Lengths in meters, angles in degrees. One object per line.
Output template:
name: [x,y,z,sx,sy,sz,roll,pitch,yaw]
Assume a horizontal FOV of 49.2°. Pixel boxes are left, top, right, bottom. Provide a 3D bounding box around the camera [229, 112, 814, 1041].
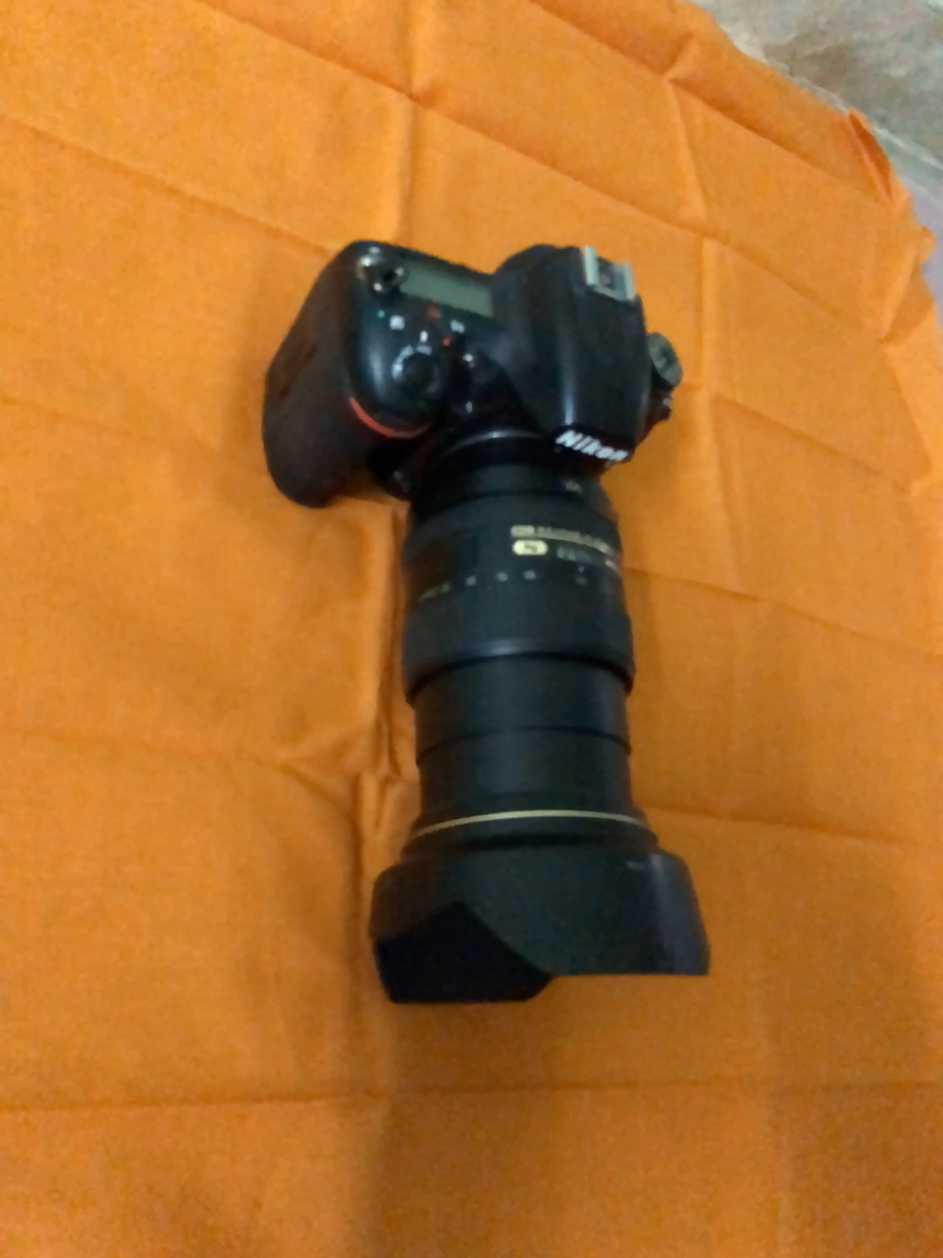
camera: [0.004,-0.007,0.352,0.131,0.120,0.264,9,68,-30]
